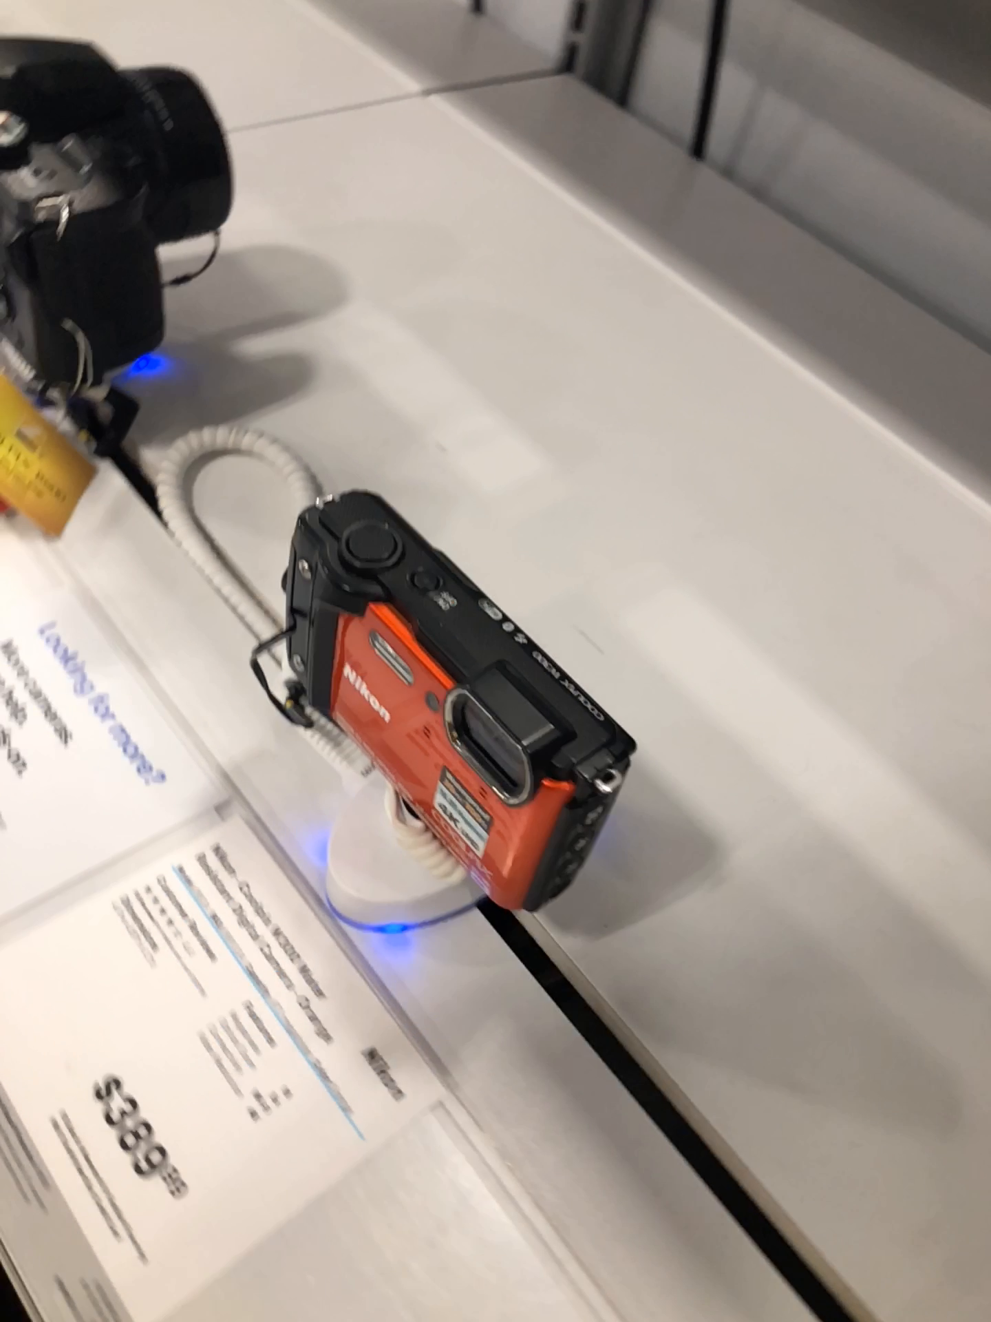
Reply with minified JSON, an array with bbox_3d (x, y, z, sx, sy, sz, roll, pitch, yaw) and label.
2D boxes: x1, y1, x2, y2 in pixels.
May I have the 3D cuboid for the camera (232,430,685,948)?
[{"bbox_3d":[-0.017,0.004,0.283,0.040,0.060,0.120,-29,61,-32],"label":"camera"}]
